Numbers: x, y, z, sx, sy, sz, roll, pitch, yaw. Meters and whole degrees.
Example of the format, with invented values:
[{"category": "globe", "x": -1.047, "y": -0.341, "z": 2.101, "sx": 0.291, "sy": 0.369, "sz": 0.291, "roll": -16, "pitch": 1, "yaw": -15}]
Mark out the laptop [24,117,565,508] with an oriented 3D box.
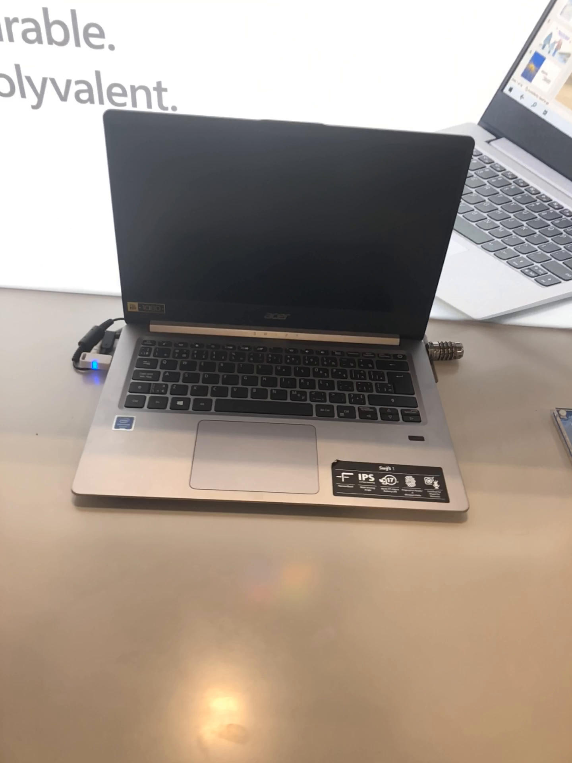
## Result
[{"category": "laptop", "x": -0.001, "y": -0.060, "z": 0.513, "sx": 0.311, "sy": 0.210, "sz": 0.227, "roll": 3, "pitch": 40, "yaw": -3}]
